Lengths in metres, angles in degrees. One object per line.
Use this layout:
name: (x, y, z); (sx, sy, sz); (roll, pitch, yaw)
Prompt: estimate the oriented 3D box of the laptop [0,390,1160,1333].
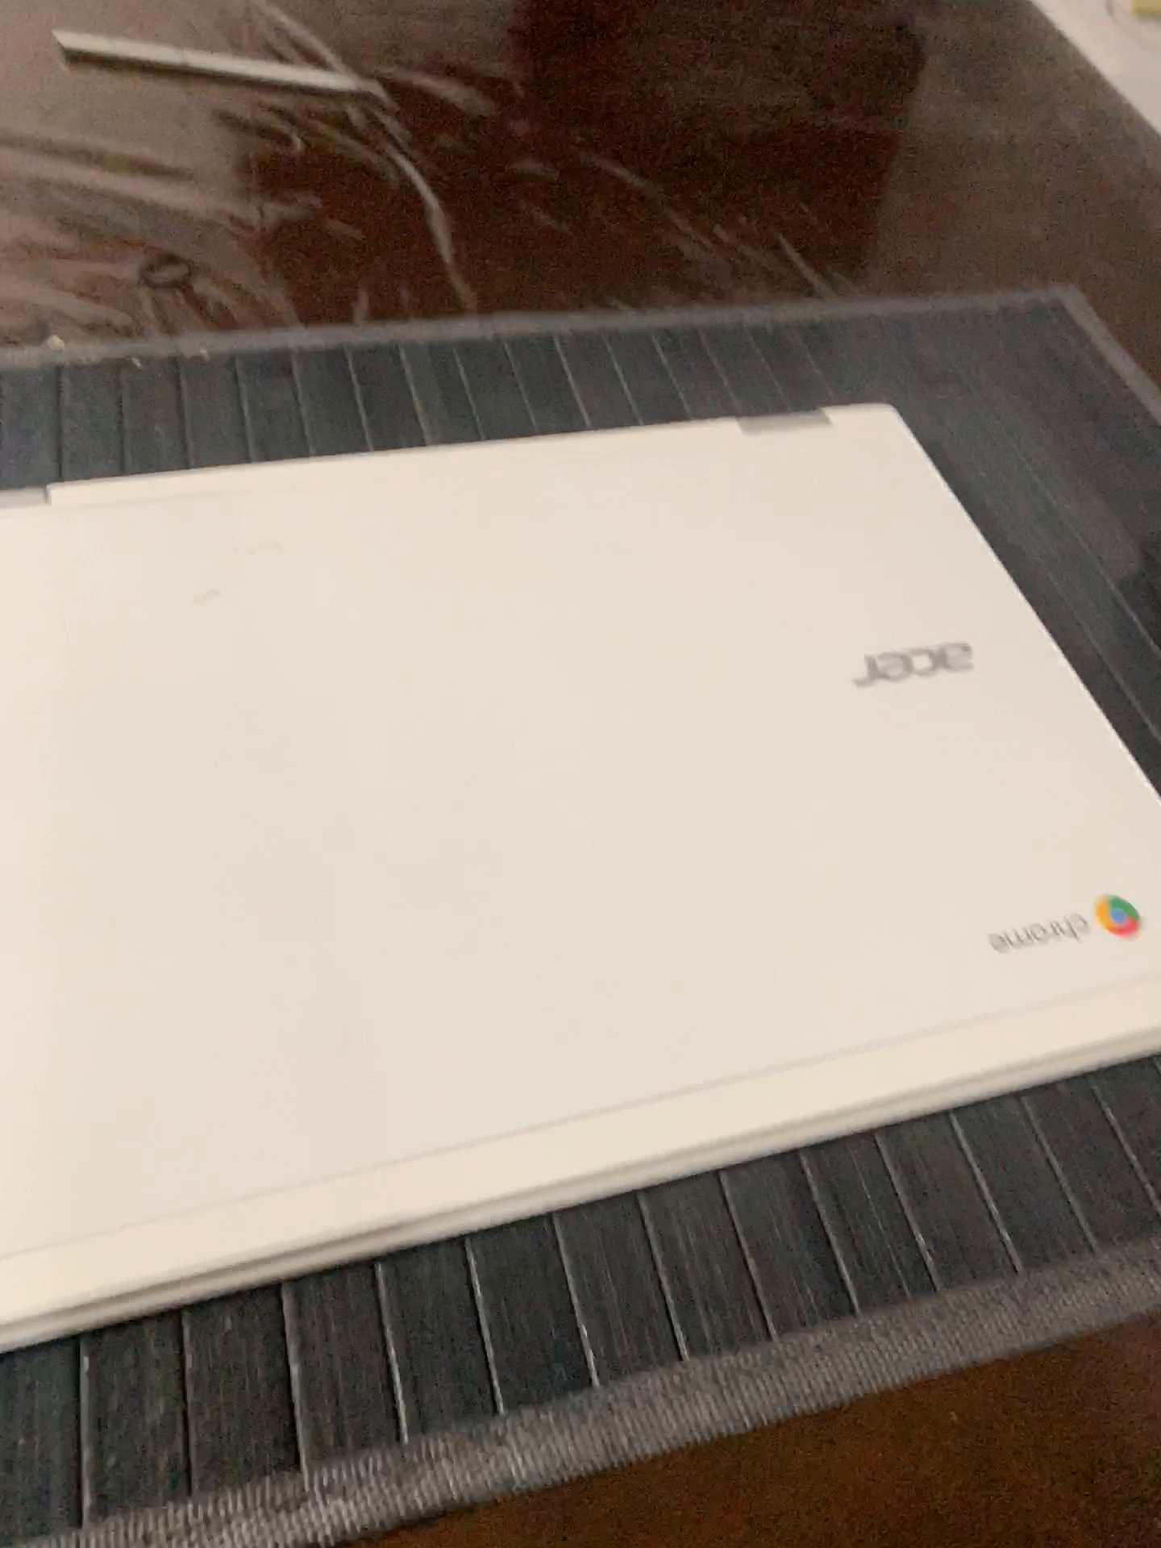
laptop: (-0.013, -0.013, 0.269); (0.279, 0.002, 0.195); (-10, 55, -13)
